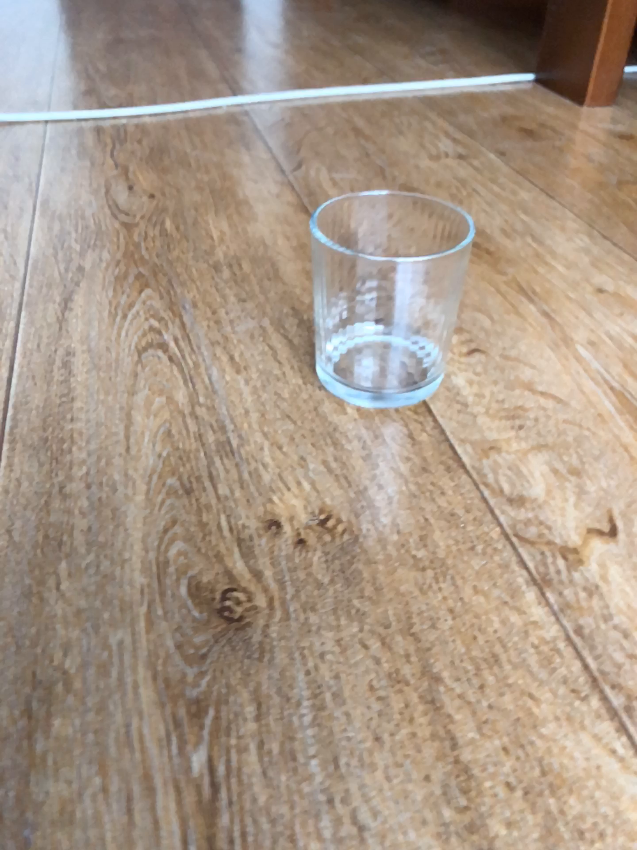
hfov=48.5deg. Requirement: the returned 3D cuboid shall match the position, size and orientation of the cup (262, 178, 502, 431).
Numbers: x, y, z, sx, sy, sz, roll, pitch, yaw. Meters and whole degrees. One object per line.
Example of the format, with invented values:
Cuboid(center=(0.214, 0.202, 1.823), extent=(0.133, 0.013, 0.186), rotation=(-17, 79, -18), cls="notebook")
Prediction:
Cuboid(center=(0.027, -0.062, 0.343), extent=(0.078, 0.079, 0.076), rotation=(1, 38, -1), cls="cup")
